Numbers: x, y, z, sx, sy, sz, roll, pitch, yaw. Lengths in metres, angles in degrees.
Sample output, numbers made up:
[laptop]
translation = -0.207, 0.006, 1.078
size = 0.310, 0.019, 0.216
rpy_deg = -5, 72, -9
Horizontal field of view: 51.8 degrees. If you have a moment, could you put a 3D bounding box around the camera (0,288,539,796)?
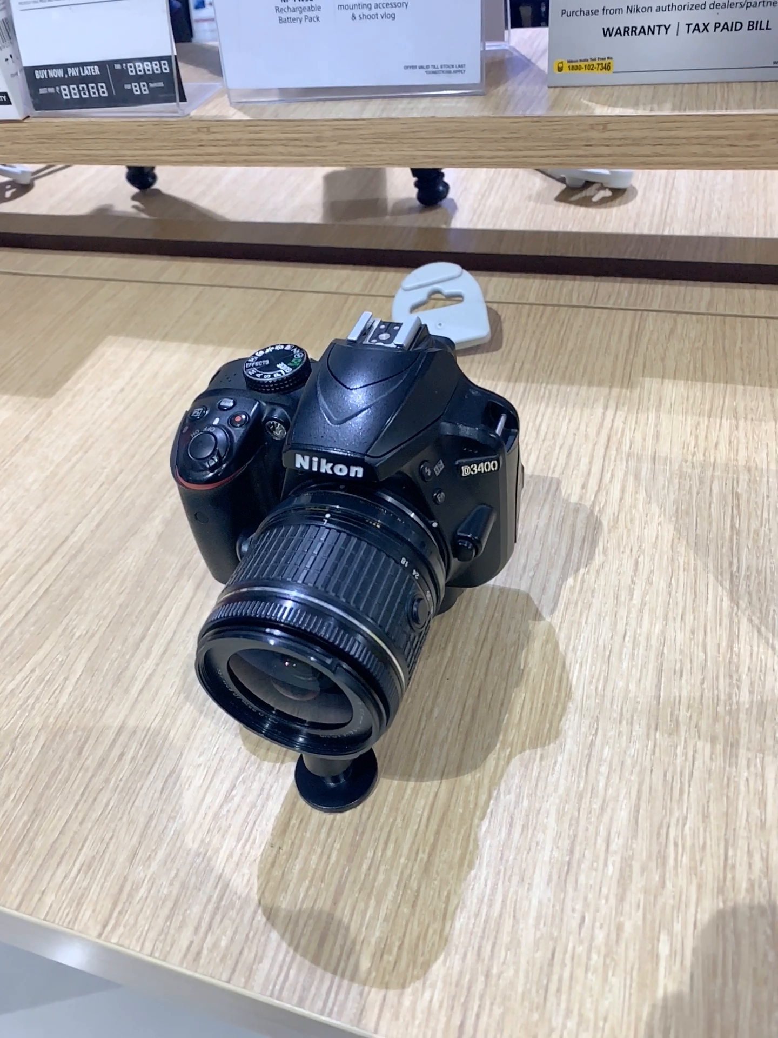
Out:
[camera]
translation = -0.024, -0.001, 0.220
size = 0.110, 0.073, 0.100
rpy_deg = 9, 47, 15
